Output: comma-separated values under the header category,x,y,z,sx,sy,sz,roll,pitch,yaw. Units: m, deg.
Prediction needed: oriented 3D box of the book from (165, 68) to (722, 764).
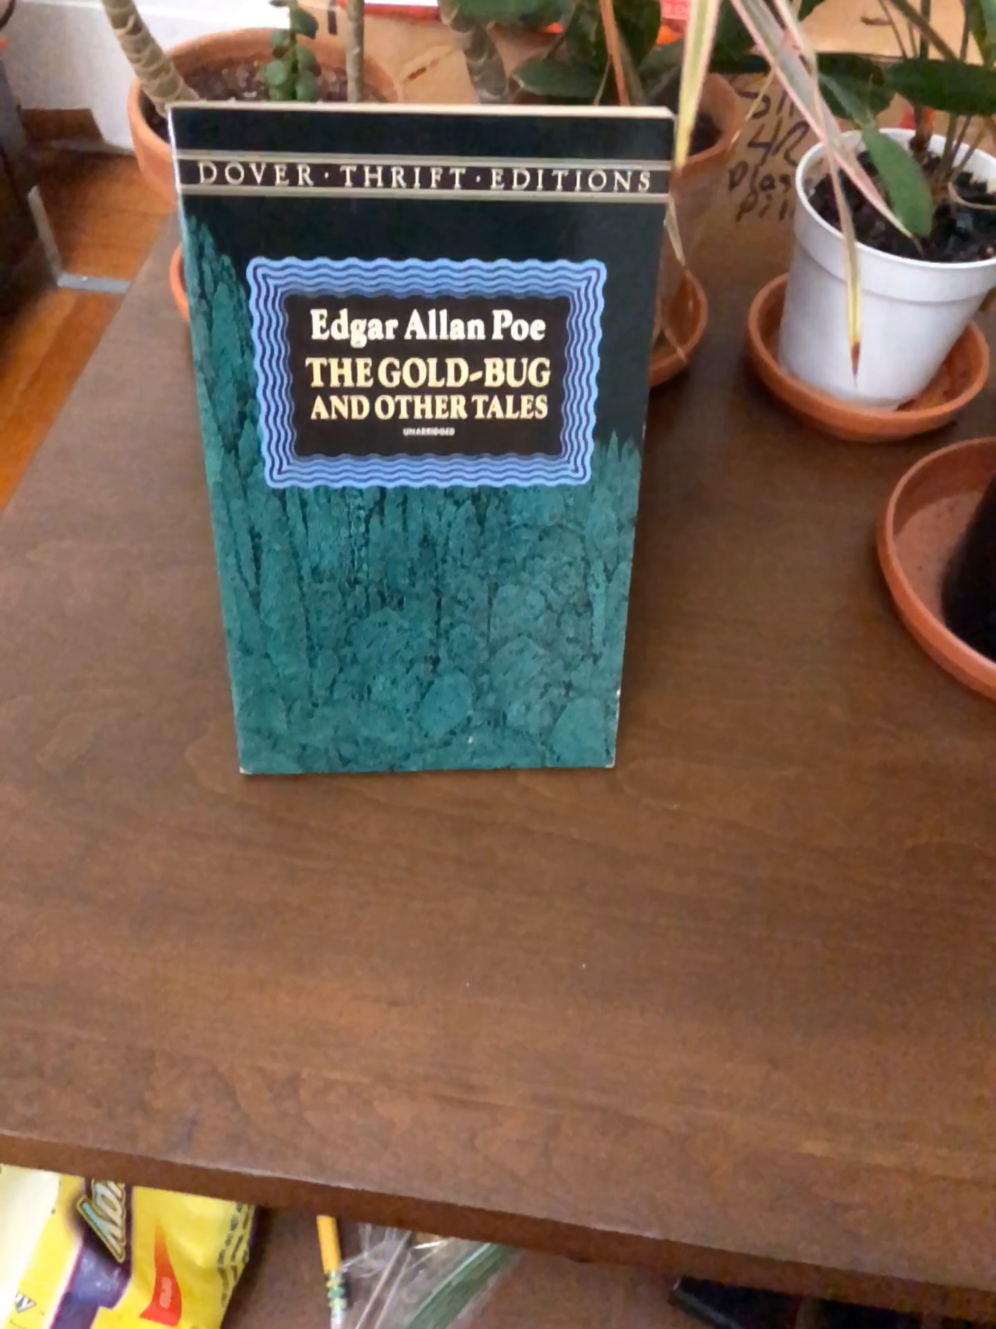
category,x,y,z,sx,sy,sz,roll,pitch,yaw
book,-0.016,-0.062,0.339,0.140,0.209,0.020,-1,30,-4
